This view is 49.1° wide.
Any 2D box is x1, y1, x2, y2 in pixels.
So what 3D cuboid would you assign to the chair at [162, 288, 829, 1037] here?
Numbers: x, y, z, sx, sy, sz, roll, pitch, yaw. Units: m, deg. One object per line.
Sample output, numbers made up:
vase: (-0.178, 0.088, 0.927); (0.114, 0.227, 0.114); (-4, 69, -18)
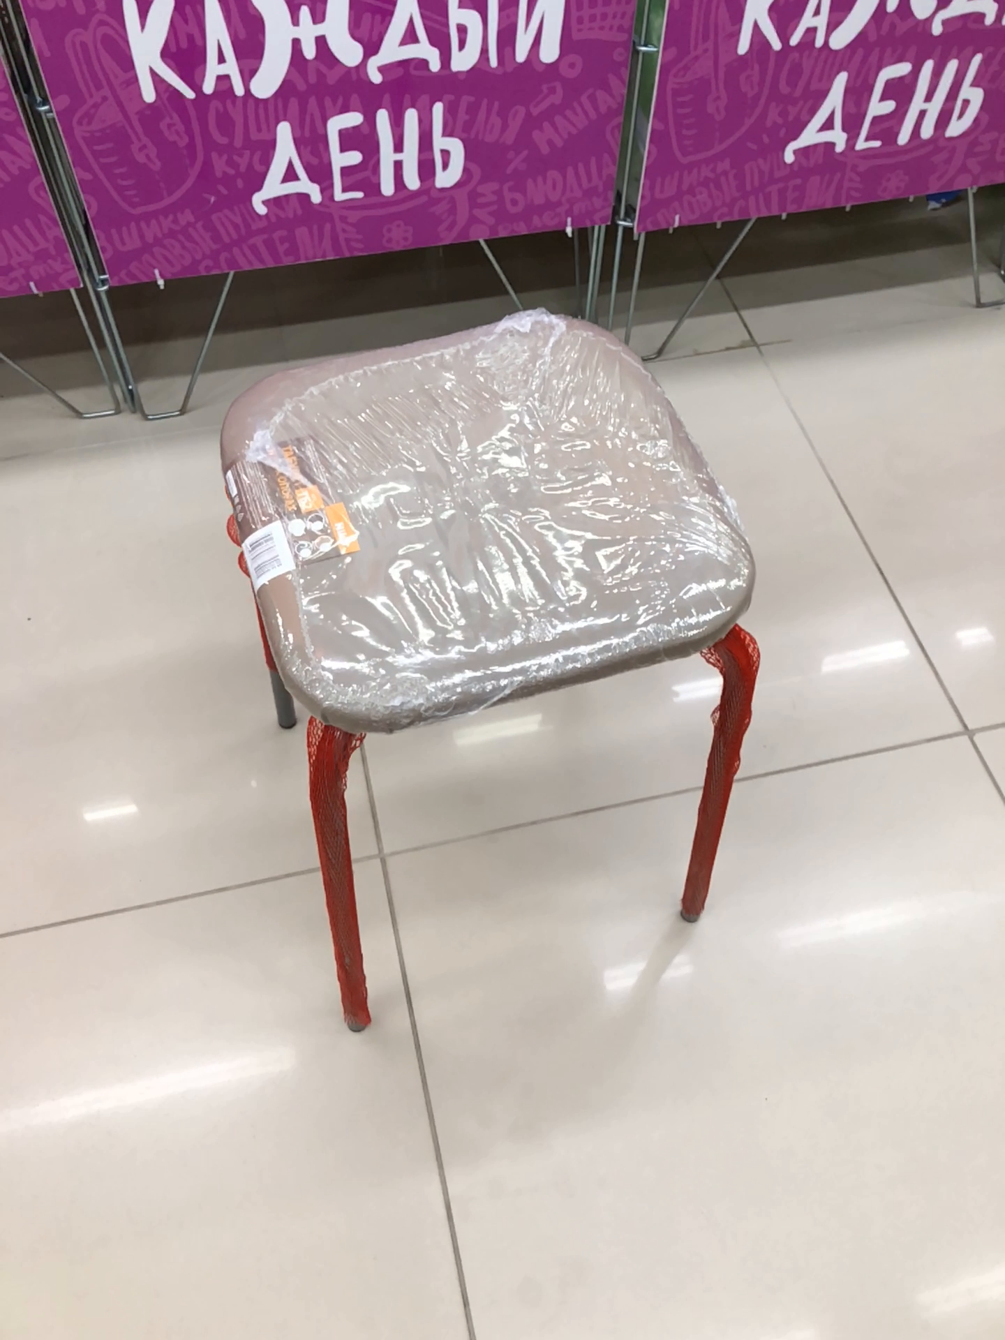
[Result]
chair: (-0.025, 0.015, 0.864); (0.330, 0.437, 0.332); (-14, 57, -11)
